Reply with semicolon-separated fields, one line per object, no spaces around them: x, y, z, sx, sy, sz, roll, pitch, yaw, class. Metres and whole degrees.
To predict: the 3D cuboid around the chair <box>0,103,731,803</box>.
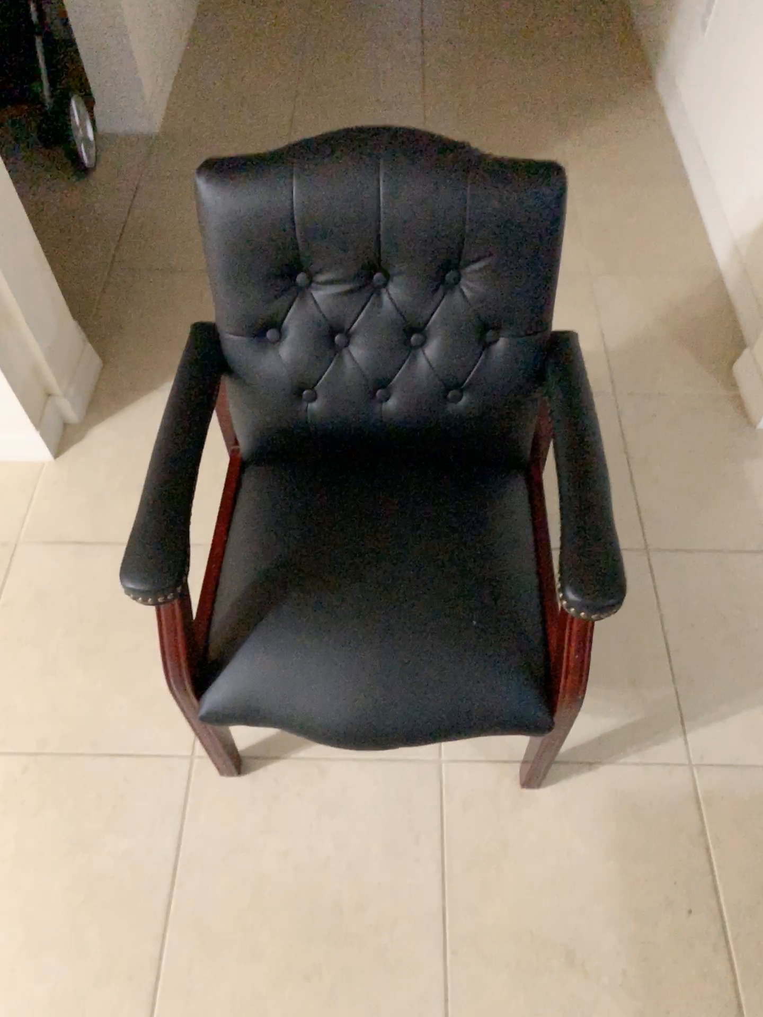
-0.015;-0.007;1.214;0.631;0.909;0.660;1;55;1;chair
